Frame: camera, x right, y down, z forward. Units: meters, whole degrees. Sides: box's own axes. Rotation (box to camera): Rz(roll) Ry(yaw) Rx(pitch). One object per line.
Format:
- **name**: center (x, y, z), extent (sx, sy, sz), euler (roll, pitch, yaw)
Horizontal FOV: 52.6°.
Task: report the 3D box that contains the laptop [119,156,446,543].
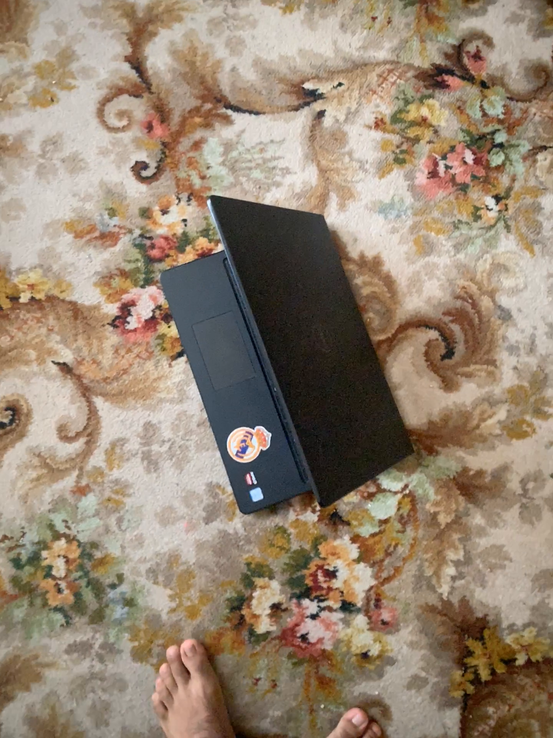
- **laptop**: center (0.005, -0.020, 0.717), extent (0.251, 0.194, 0.367), euler (-20, 85, -2)
